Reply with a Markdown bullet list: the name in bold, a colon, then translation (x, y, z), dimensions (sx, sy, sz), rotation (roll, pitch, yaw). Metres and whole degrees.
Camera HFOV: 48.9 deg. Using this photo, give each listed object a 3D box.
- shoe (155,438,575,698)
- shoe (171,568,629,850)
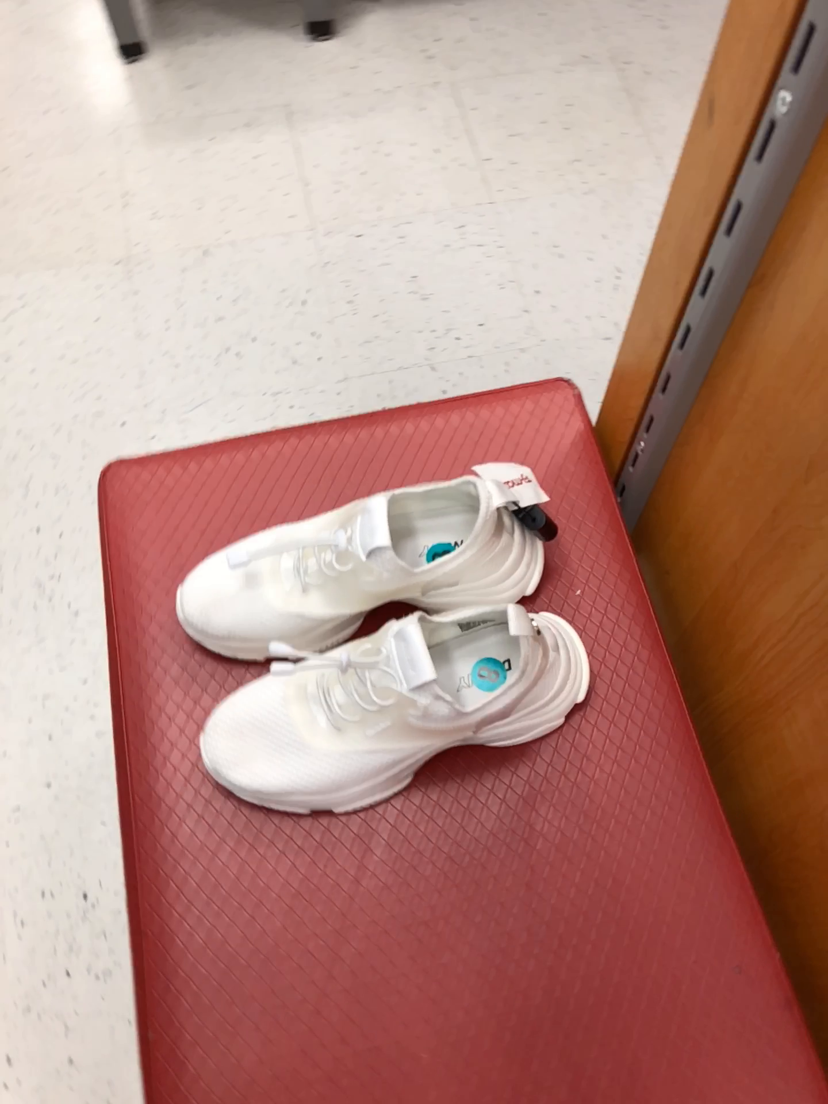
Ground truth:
- **shoe**: translation (-0.037, 0.014, 0.684), dimensions (0.277, 0.110, 0.112), rotation (-10, 65, -5)
- **shoe**: translation (-0.012, 0.112, 0.636), dimensions (0.277, 0.110, 0.109), rotation (-12, 65, -6)
